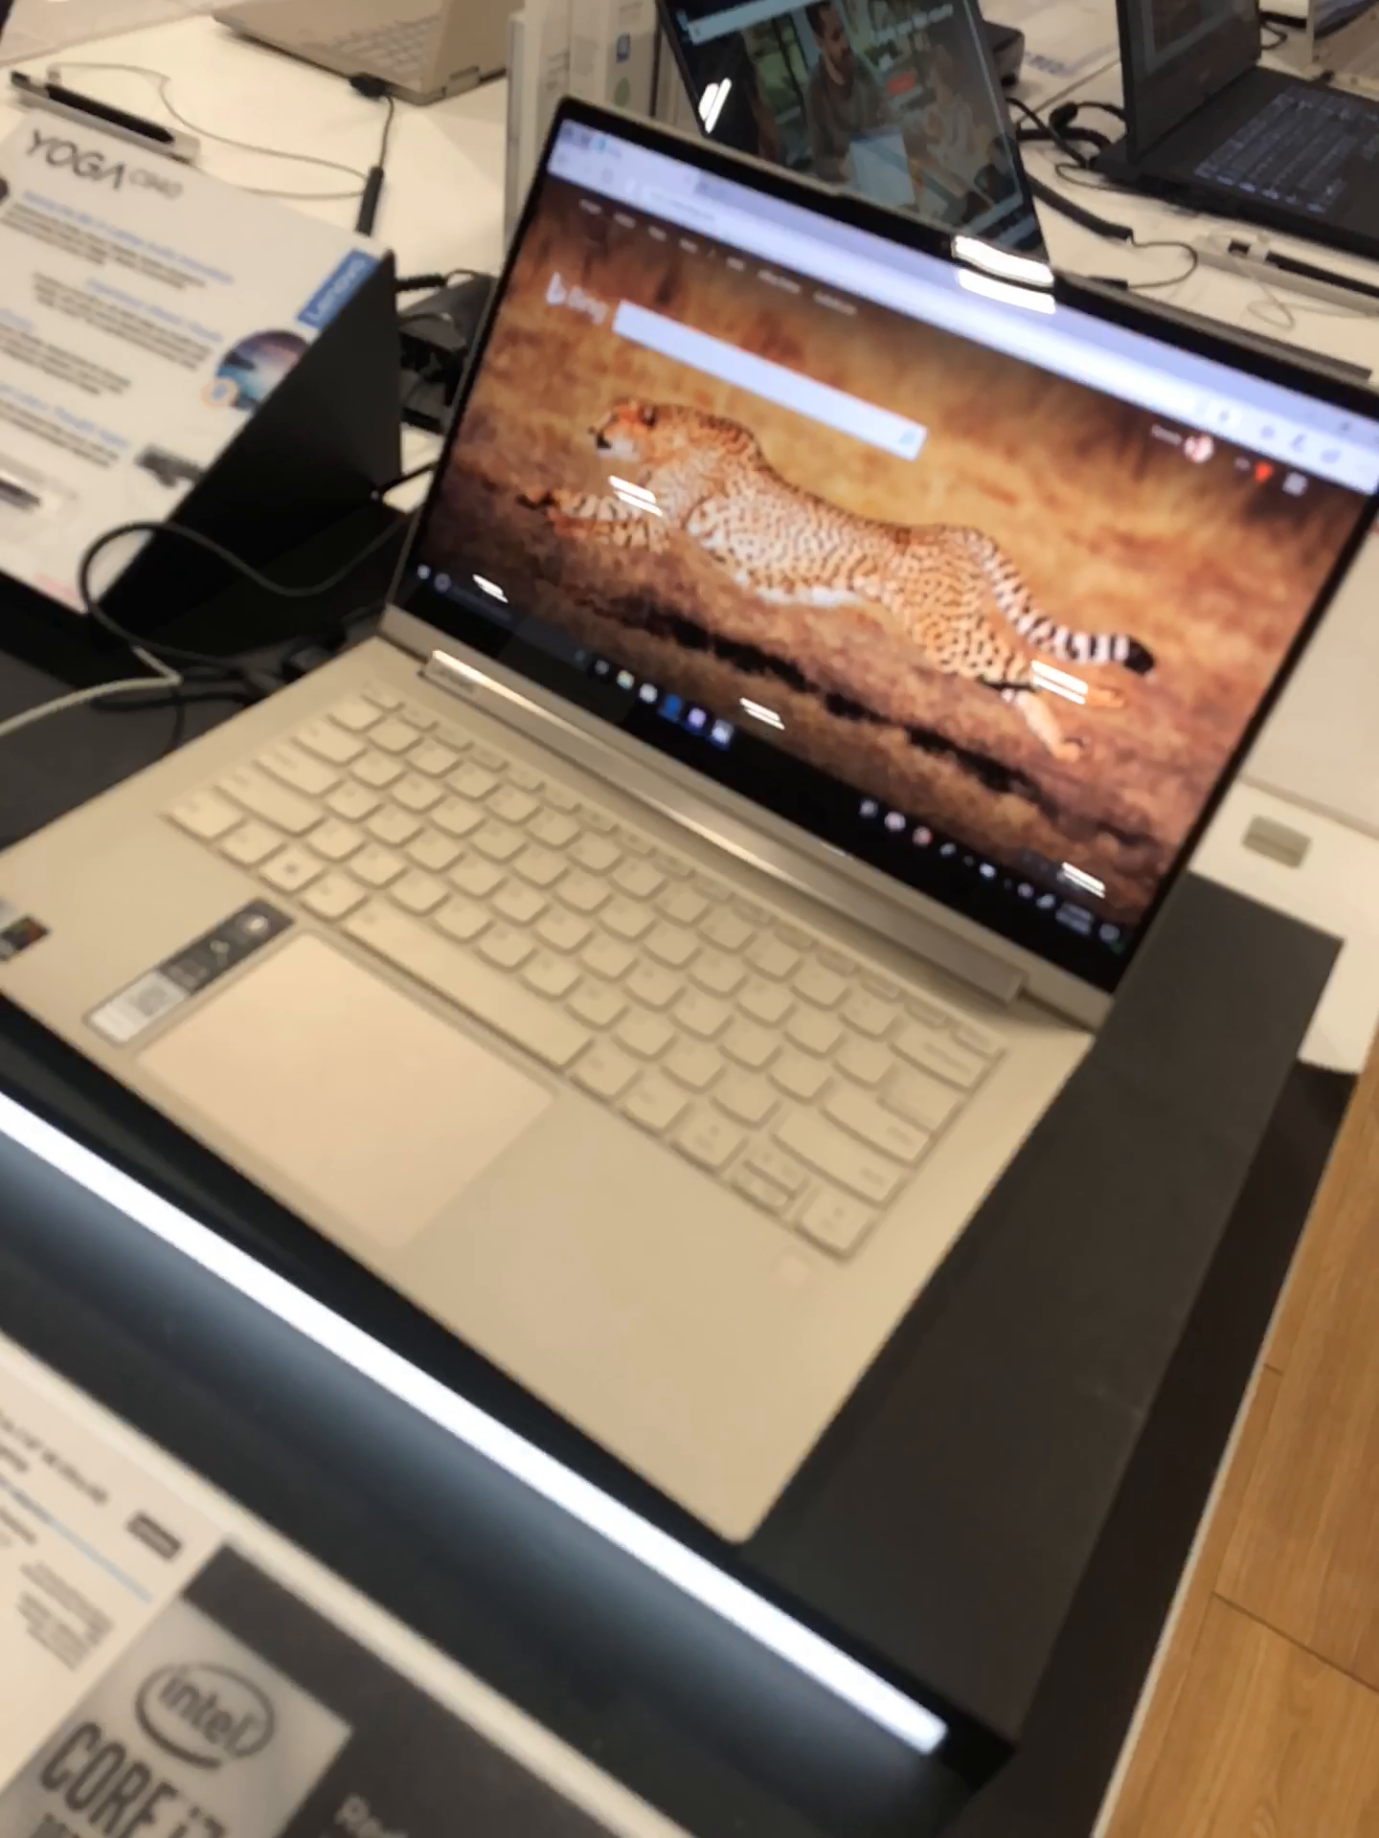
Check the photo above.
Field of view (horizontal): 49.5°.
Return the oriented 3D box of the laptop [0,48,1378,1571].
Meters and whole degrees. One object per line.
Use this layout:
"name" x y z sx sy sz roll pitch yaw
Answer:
"laptop" -0.017 -0.081 0.446 0.320 0.170 0.327 31 52 21
